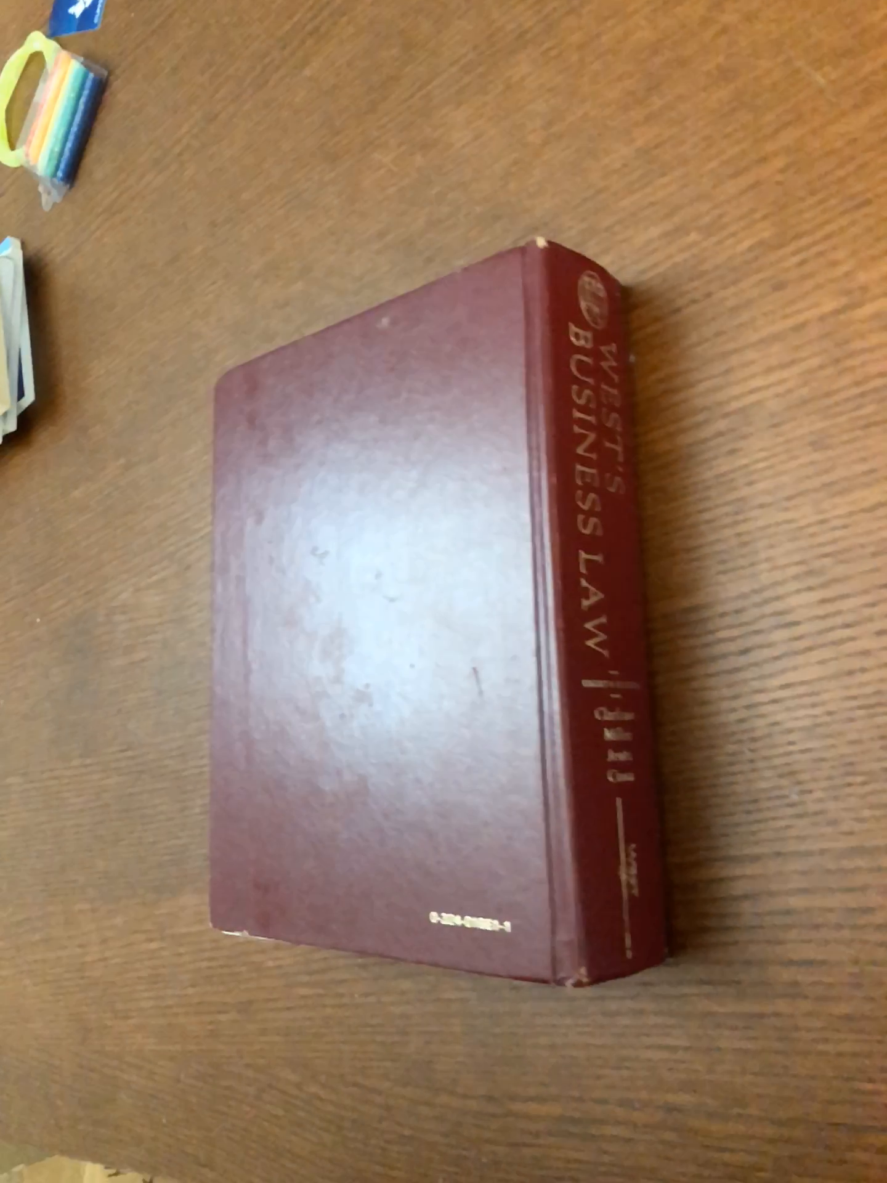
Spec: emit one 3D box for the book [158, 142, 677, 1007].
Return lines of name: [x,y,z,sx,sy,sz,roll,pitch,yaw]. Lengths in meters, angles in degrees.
book: [-0.026,0.001,0.419,0.221,0.070,0.290,-10,77,40]
